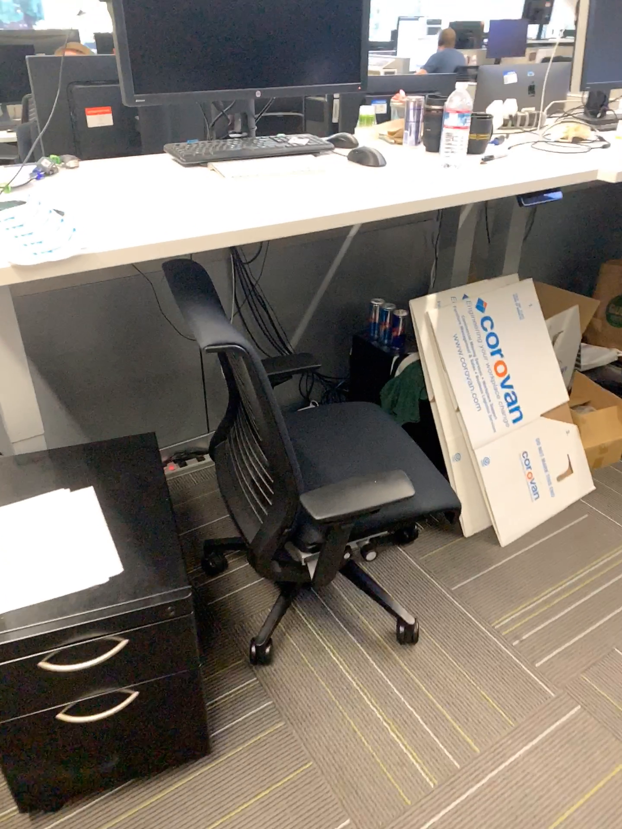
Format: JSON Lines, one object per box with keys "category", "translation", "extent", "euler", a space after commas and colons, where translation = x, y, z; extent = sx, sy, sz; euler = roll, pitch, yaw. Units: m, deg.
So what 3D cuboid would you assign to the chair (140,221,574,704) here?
{"category": "chair", "translation": [0.020, 0.047, 1.609], "extent": [0.720, 0.805, 0.785], "euler": [-9, 33, -15]}
